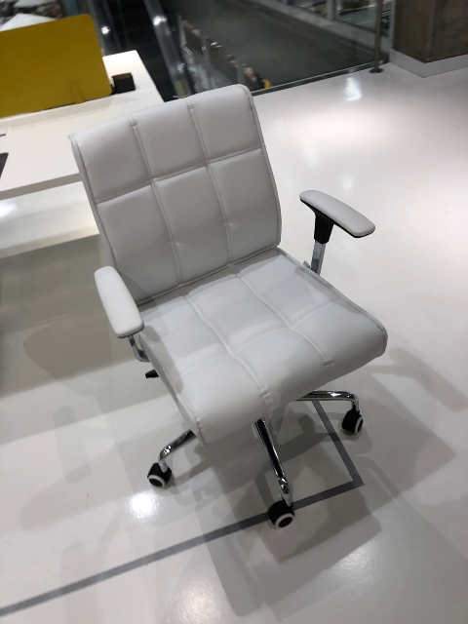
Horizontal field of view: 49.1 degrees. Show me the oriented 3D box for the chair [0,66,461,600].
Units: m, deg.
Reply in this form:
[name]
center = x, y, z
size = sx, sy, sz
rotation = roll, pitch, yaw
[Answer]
[chair]
center = -0.029, 0.021, 1.289
size = 0.661, 0.923, 0.725
rotation = -23, 41, -16
